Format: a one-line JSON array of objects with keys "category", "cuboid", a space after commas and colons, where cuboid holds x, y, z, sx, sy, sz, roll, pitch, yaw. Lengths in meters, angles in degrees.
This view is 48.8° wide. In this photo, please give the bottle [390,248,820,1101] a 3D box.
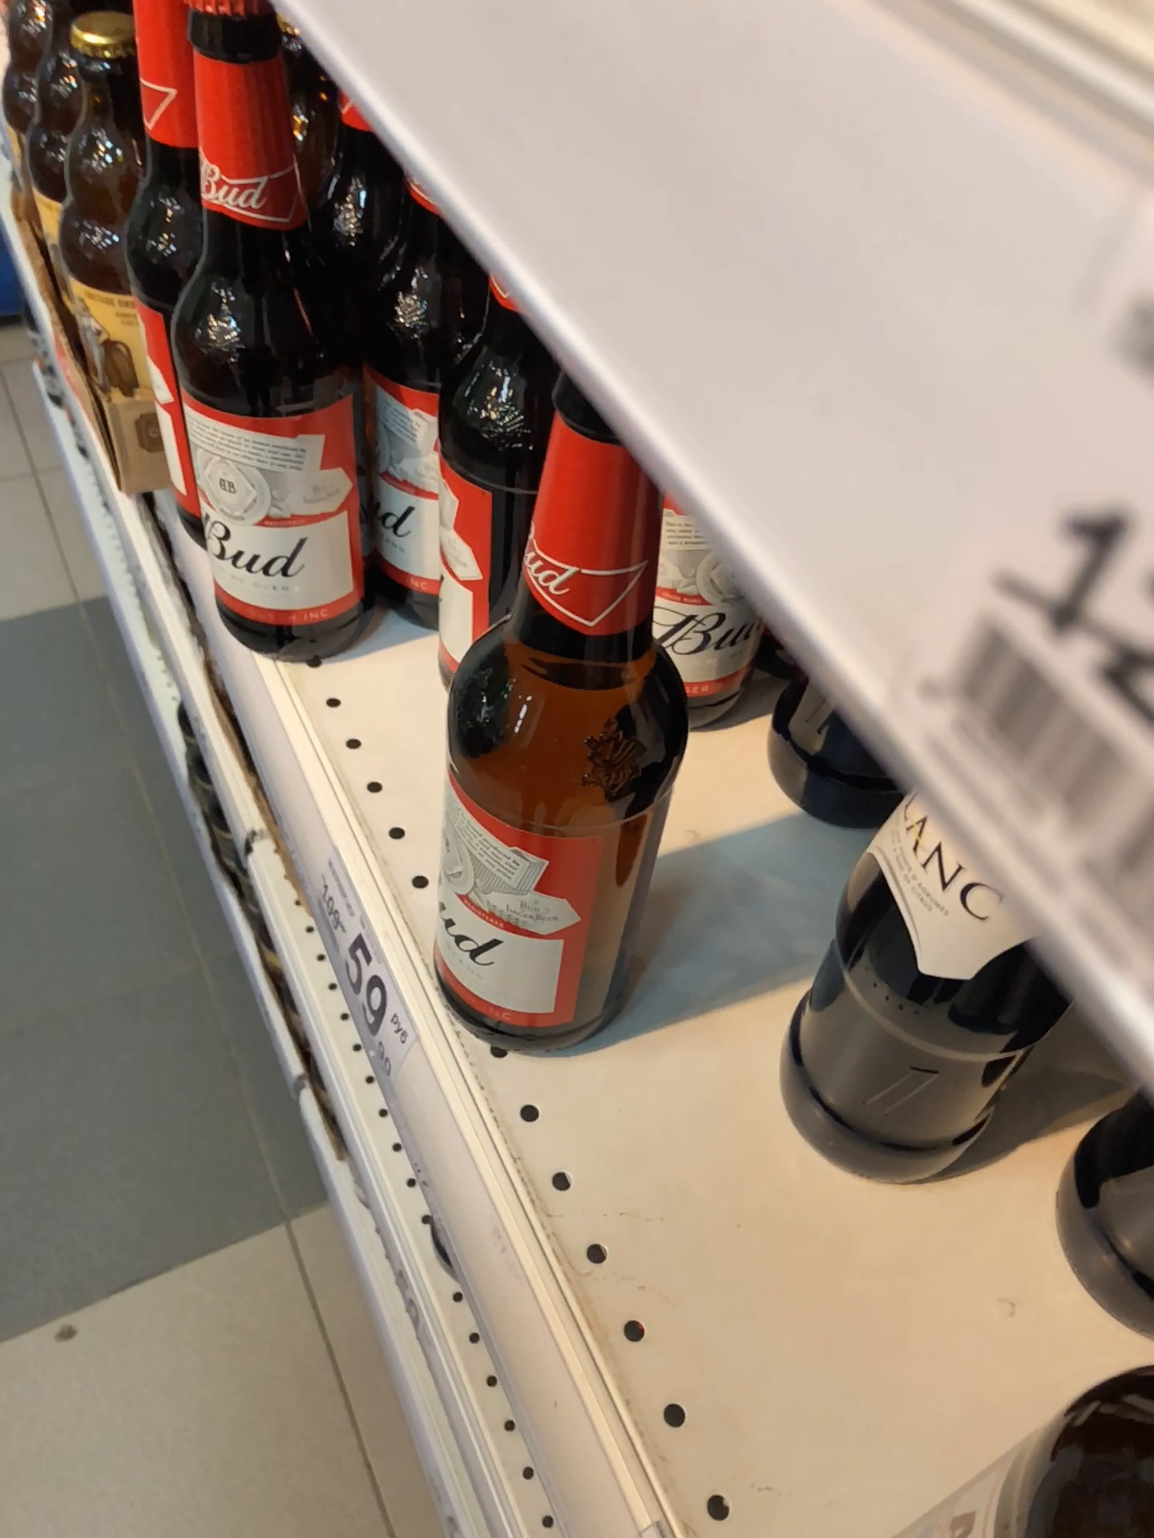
[{"category": "bottle", "cuboid": [-0.005, -0.007, 0.363, 0.070, 0.249, 0.080, -11, 51, -14]}]
